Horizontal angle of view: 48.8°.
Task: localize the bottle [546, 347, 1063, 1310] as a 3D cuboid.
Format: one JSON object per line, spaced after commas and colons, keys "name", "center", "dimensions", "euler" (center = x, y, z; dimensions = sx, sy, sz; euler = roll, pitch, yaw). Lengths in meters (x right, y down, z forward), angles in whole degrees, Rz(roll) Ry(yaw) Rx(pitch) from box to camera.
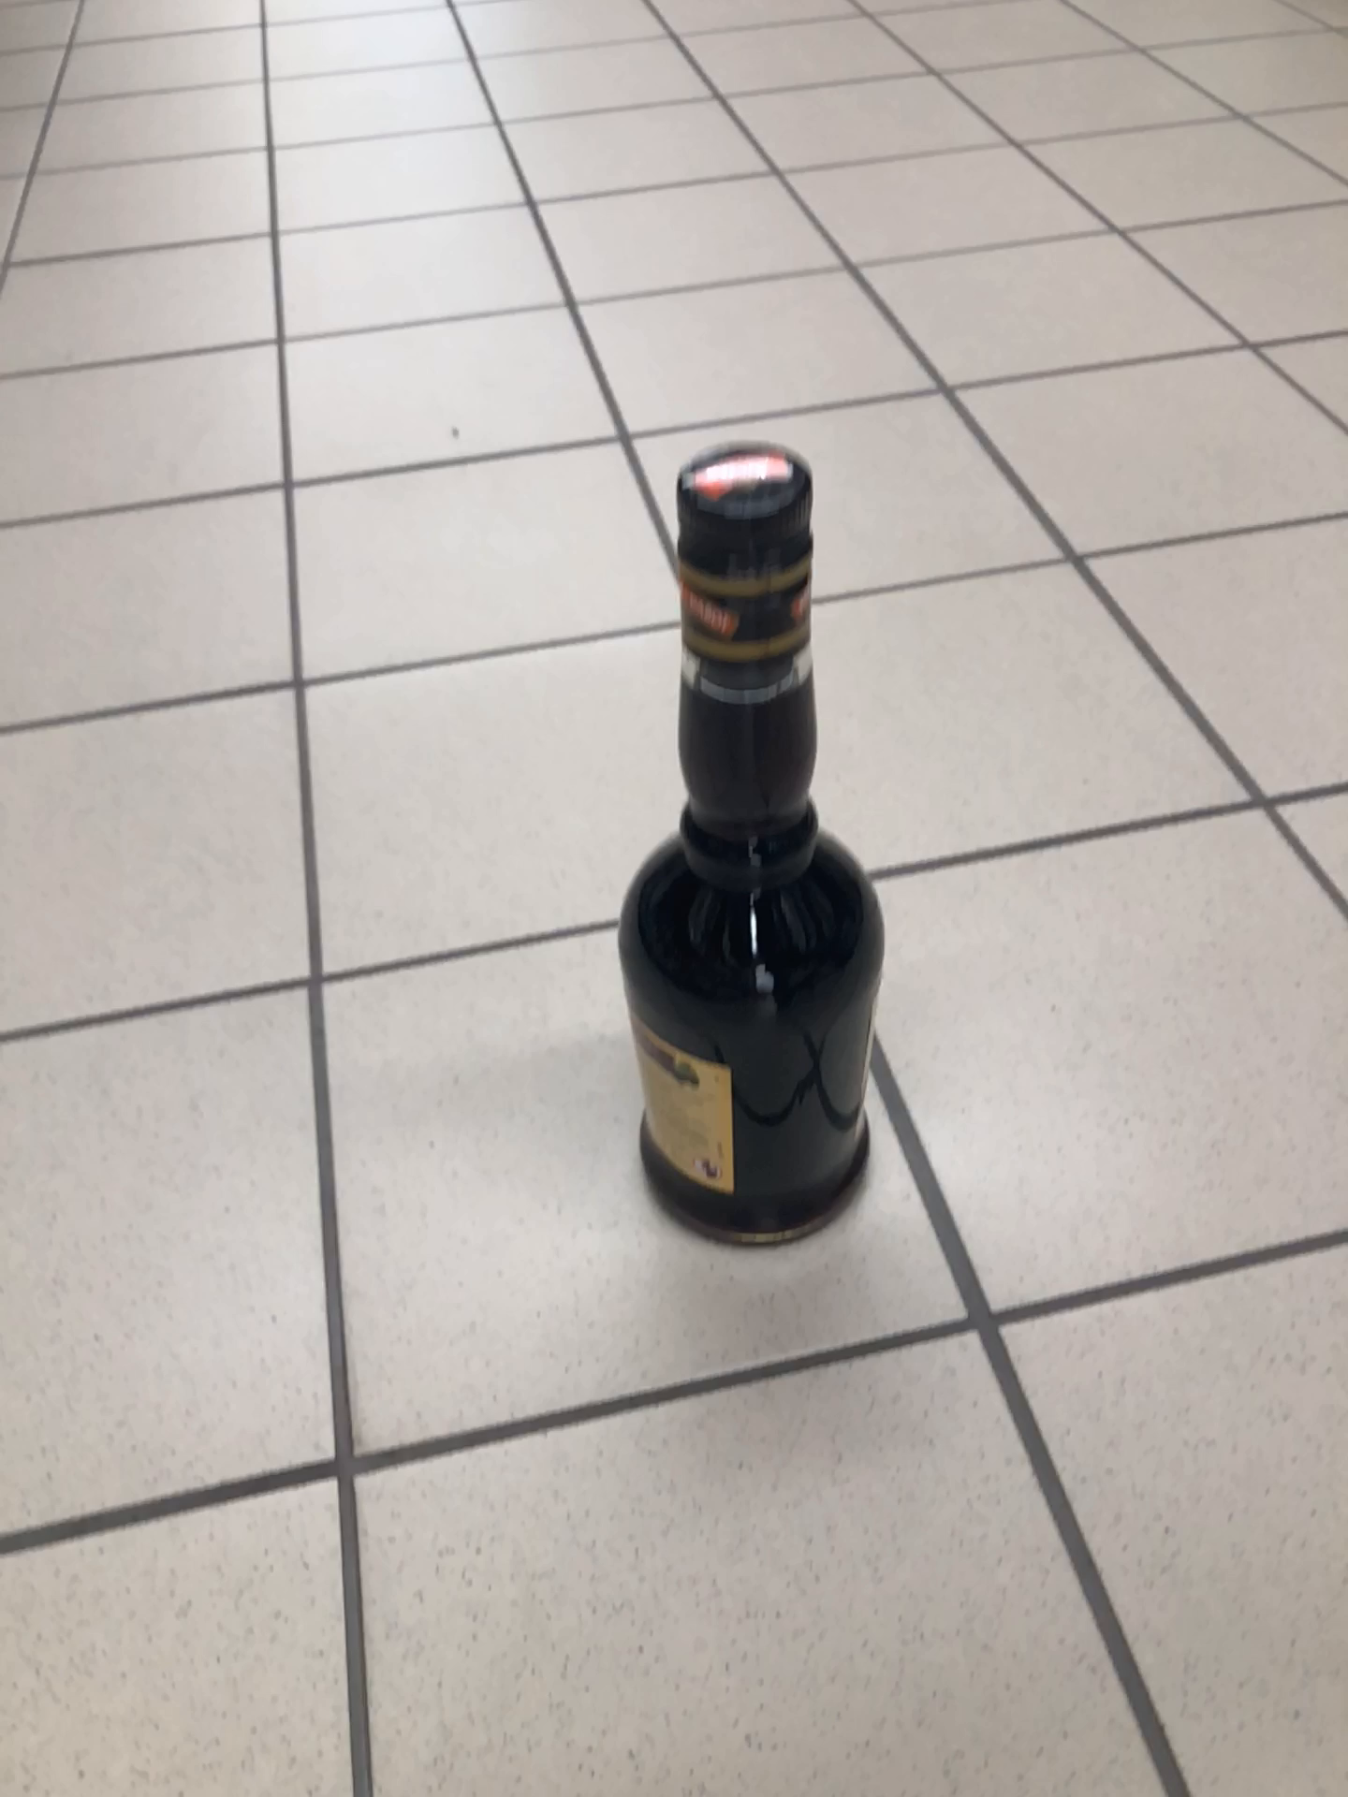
{"name": "bottle", "center": [0.032, -0.005, 0.424], "dimensions": [0.080, 0.258, 0.090], "euler": [-23, 47, -20]}
